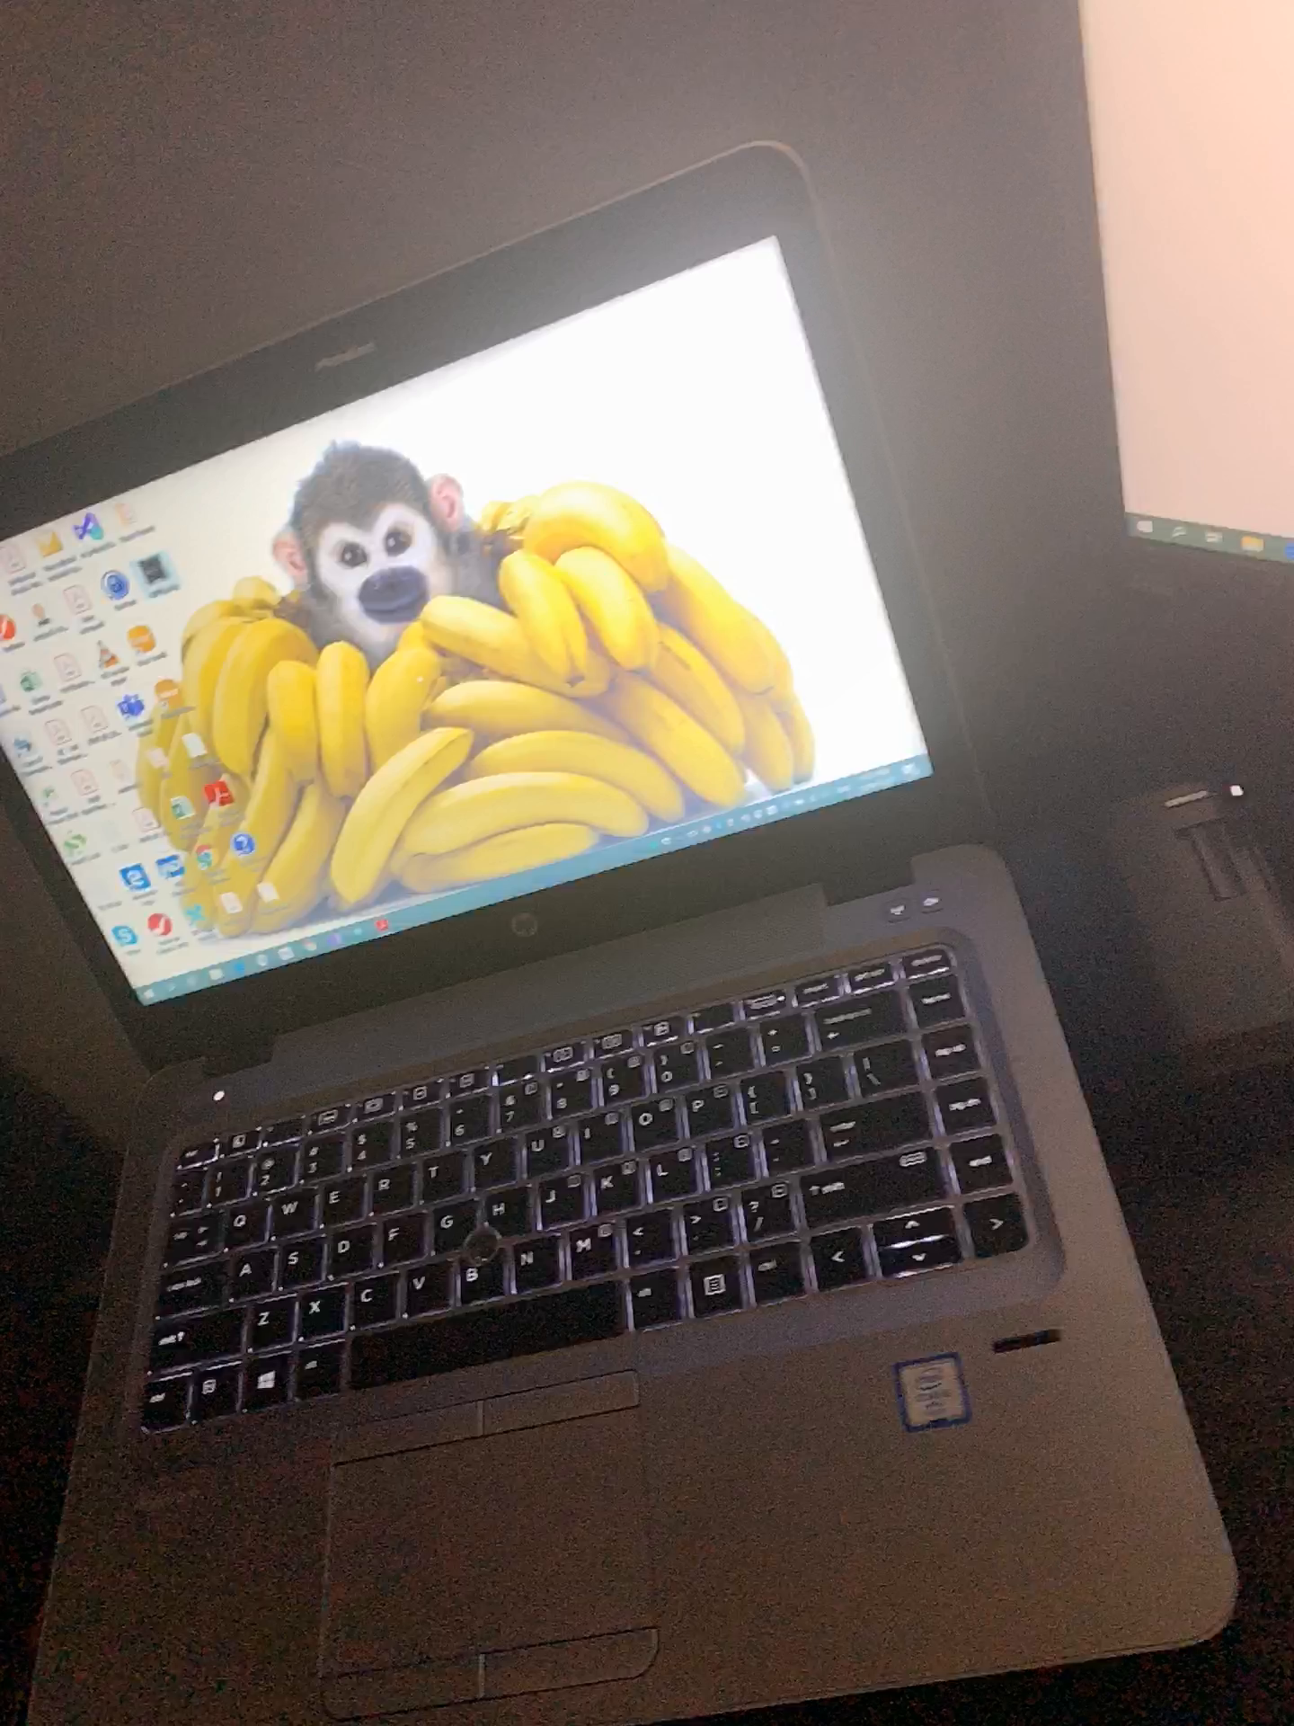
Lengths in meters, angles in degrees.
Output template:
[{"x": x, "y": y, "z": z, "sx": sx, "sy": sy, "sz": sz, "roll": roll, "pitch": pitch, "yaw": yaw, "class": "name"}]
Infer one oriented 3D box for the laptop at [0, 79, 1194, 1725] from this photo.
[{"x": -0.076, "y": 0.018, "z": 0.364, "sx": 0.318, "sy": 0.191, "sz": 0.327, "roll": -17, "pitch": 48, "yaw": 13, "class": "laptop"}]
